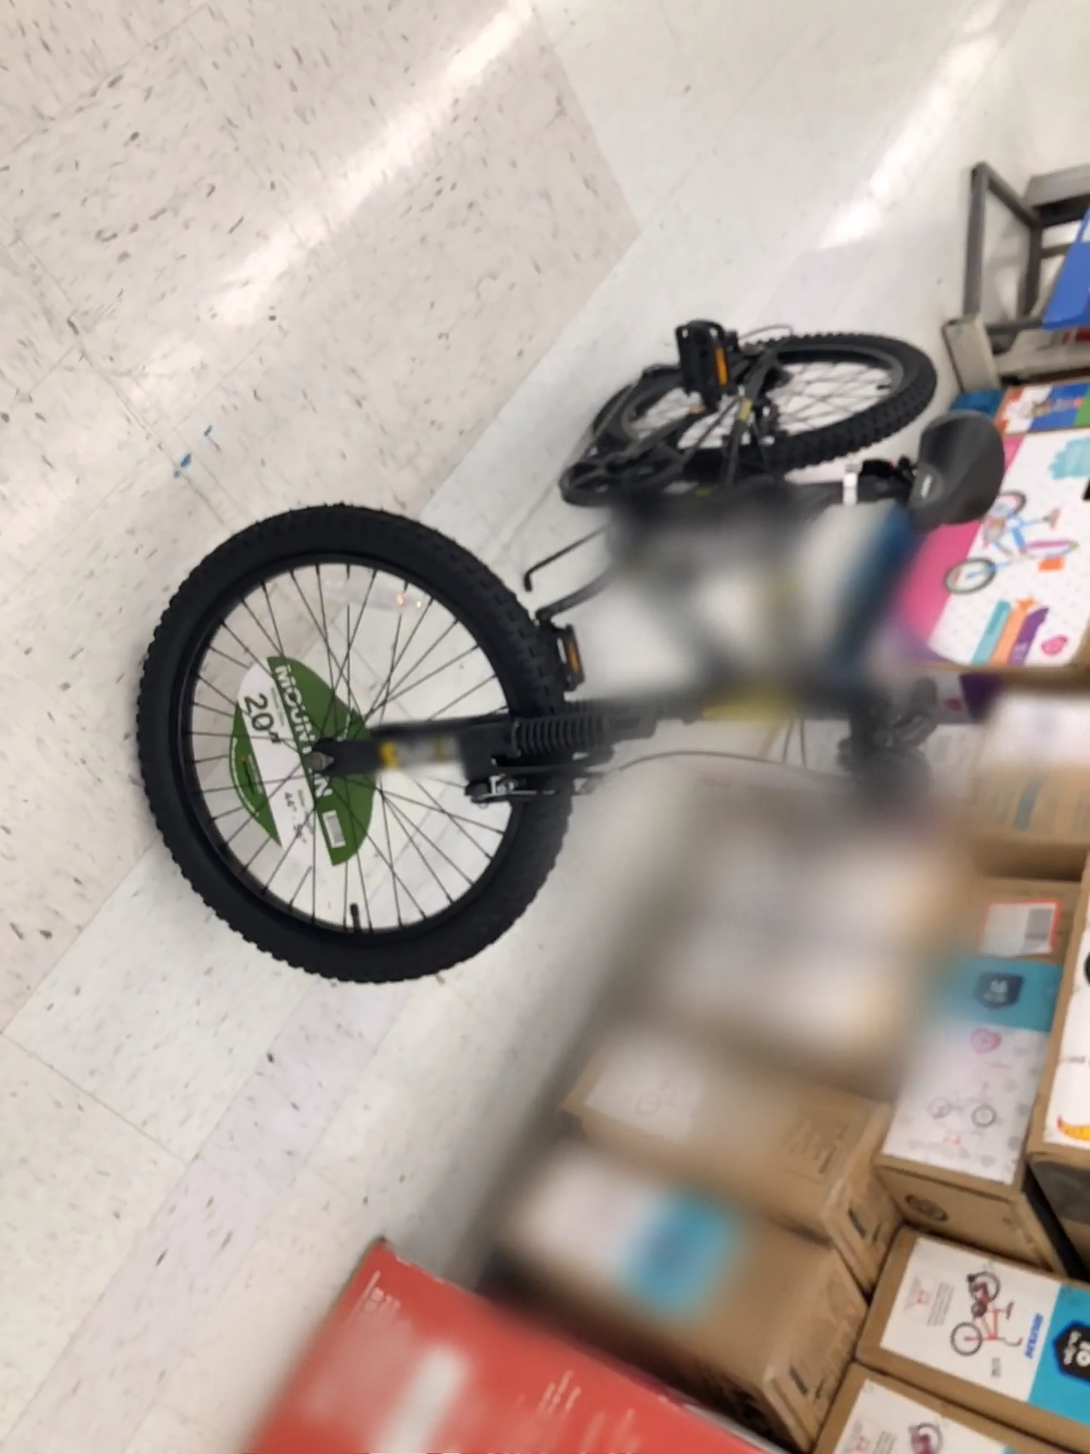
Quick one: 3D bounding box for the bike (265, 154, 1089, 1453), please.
[{"bbox_3d":[0.362,-0.056,1.524,1.262,0.849,0.523,-55,130,-34],"label":"bike"}]
